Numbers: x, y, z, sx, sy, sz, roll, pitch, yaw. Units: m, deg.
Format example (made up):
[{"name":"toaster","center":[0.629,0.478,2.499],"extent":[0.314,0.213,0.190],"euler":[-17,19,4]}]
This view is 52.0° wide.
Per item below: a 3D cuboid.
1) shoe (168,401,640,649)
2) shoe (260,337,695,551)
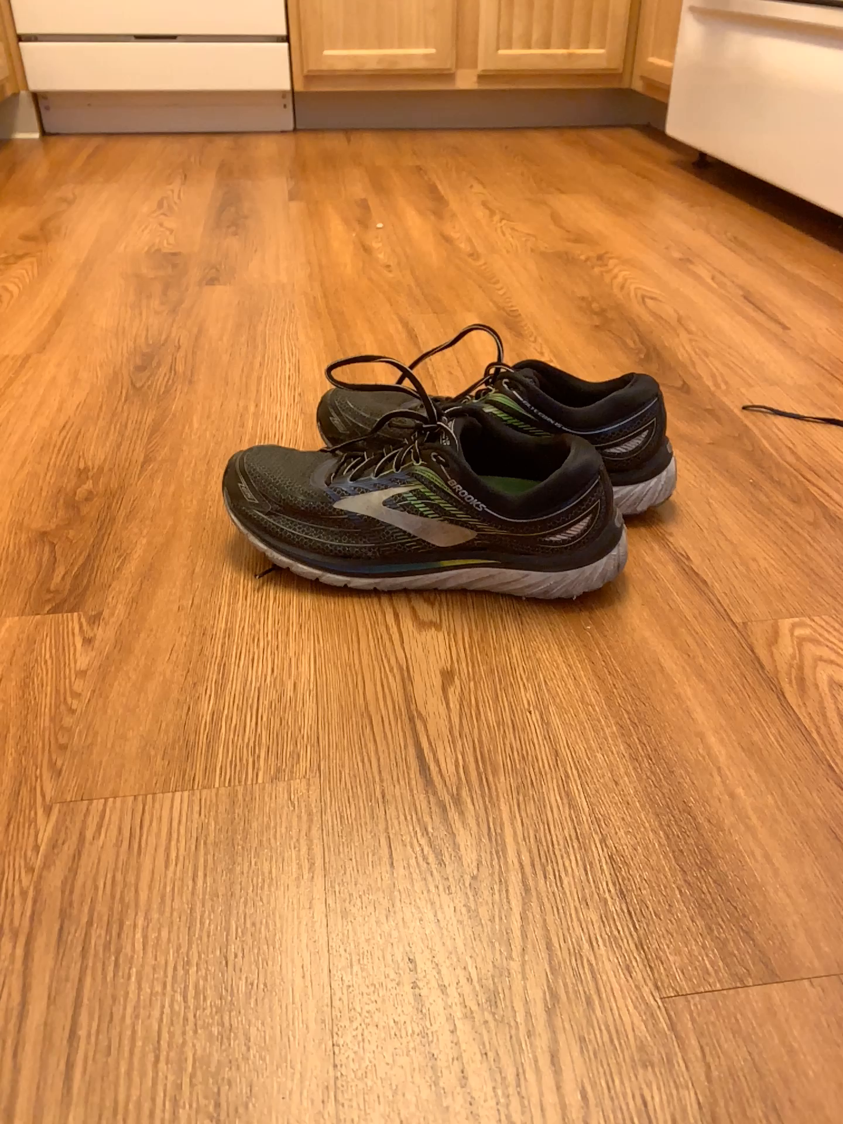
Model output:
[{"name":"shoe","center":[-0.009,-0.033,0.649],"extent":[0.320,0.109,0.111],"euler":[7,35,9]},{"name":"shoe","center":[0.048,-0.108,0.751],"extent":[0.340,0.109,0.121],"euler":[7,35,9]}]
